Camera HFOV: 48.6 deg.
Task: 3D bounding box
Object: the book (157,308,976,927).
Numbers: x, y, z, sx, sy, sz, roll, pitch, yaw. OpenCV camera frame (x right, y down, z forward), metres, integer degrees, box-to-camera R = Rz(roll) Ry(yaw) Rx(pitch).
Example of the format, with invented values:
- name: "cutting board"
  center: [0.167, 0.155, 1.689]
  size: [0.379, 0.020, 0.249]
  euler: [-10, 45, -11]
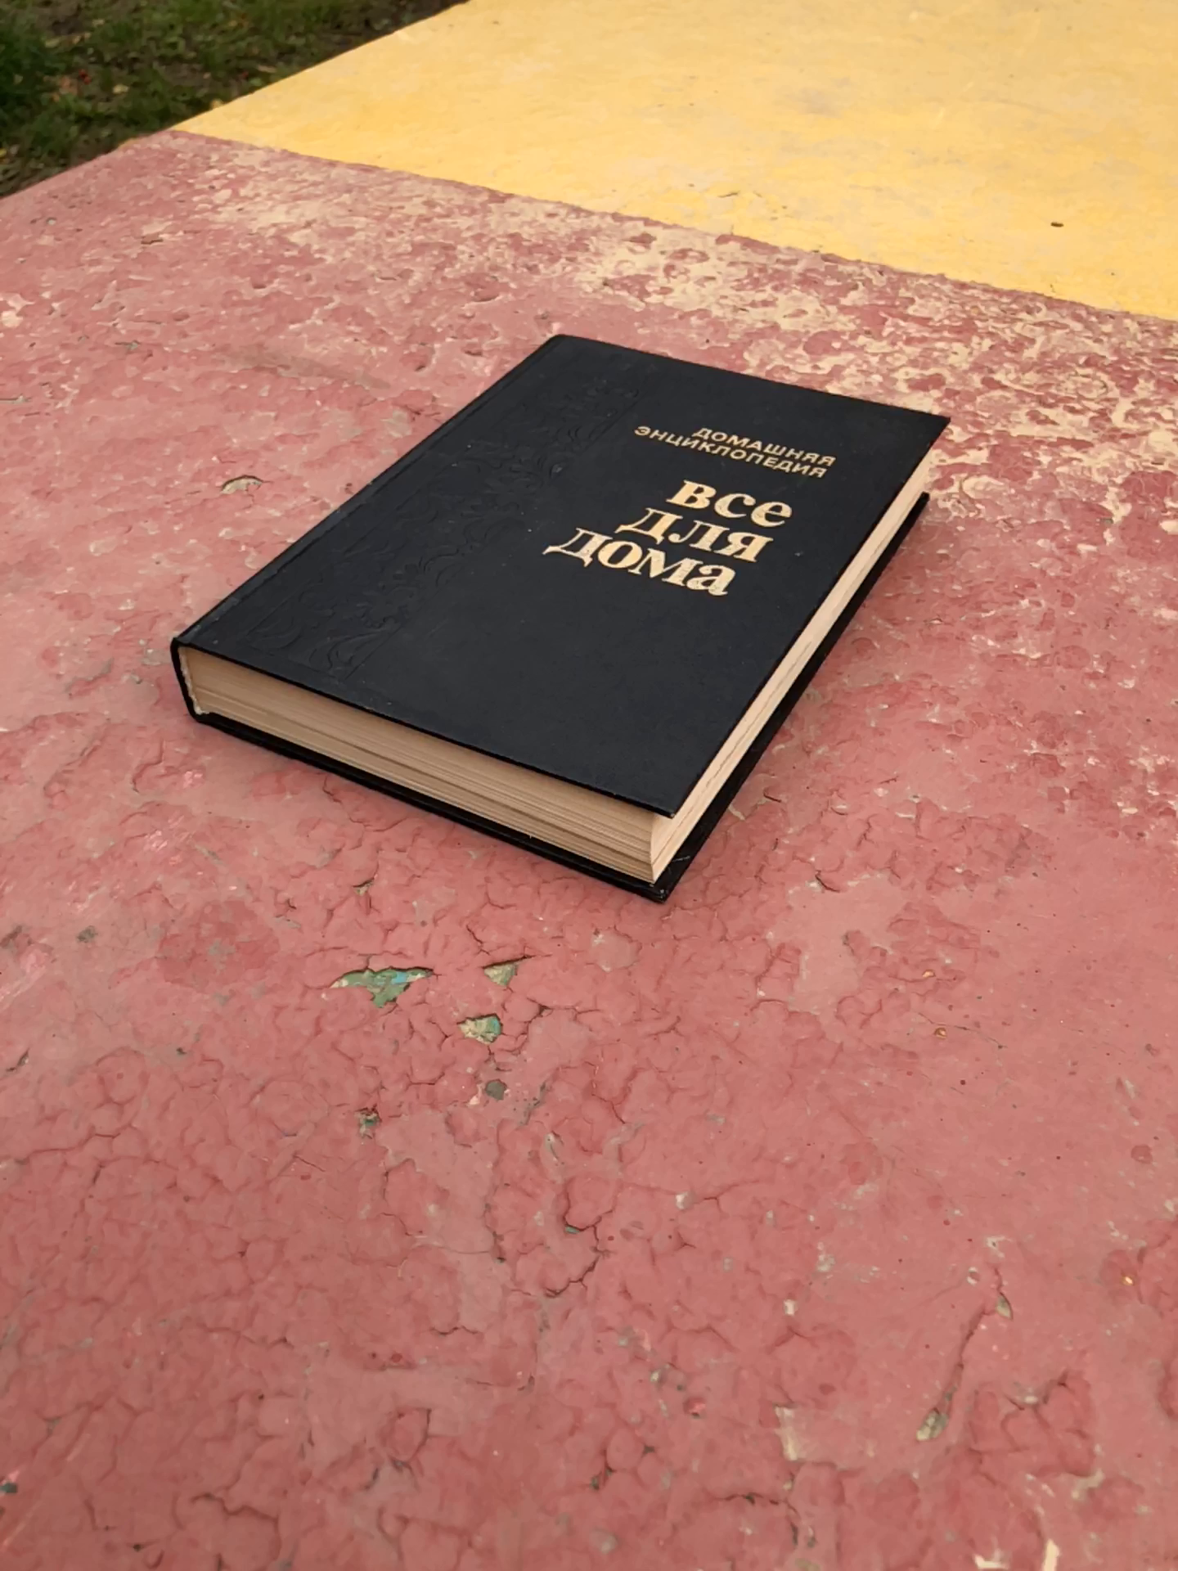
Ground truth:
- name: "book"
  center: [0.007, -0.069, 0.385]
  size: [0.150, 0.040, 0.211]
  euler: [20, 47, 21]
